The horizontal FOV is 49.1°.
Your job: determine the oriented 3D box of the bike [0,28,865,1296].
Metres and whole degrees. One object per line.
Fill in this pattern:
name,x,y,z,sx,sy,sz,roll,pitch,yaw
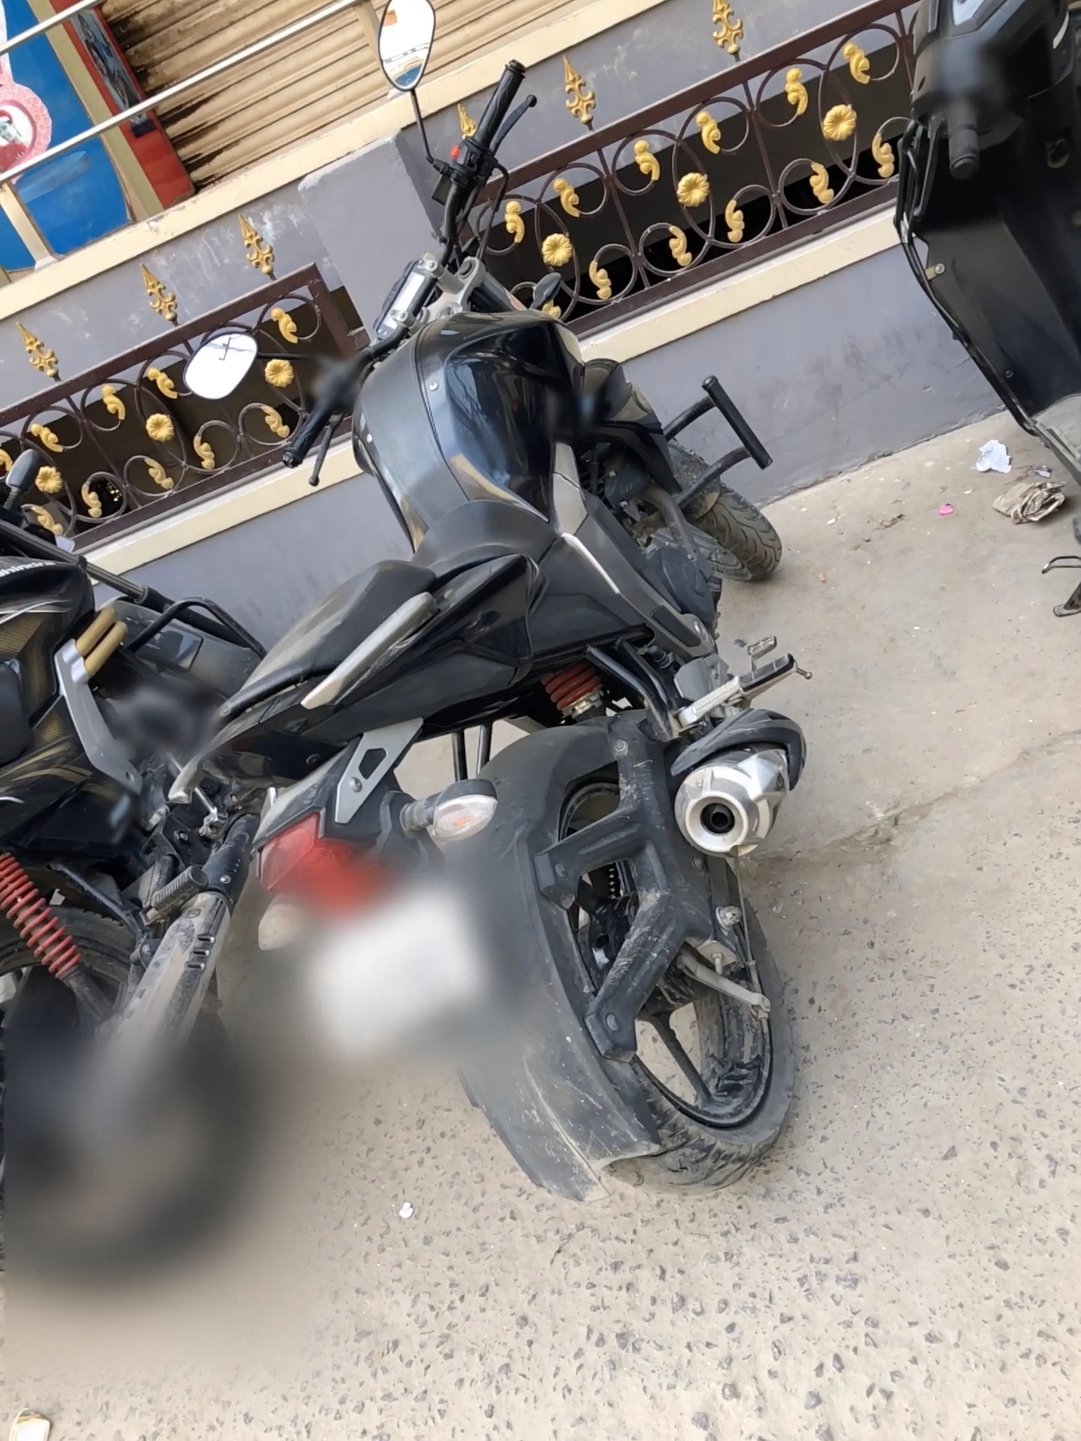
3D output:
bike,-0.167,-0.274,1.937,0.693,1.197,1.766,-19,31,14
